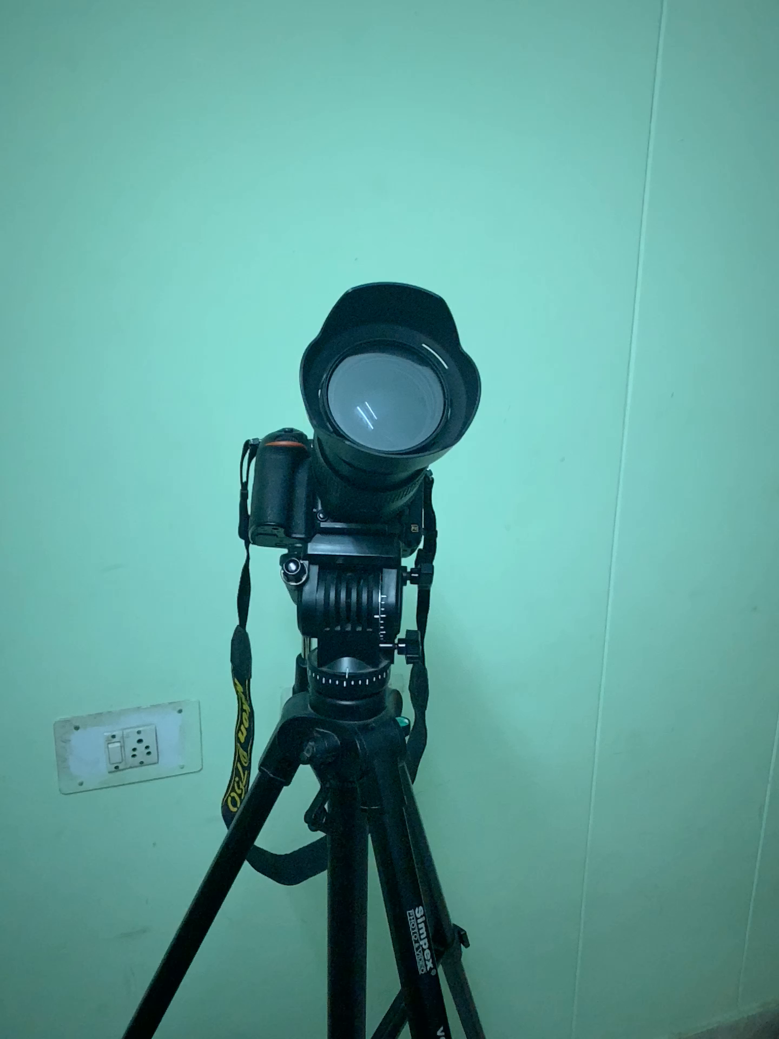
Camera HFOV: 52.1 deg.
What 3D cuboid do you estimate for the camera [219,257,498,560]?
[{"bbox_3d":[-0.029,-0.057,0.566,0.151,0.120,0.247,3,-15,-6],"label":"camera"}]
